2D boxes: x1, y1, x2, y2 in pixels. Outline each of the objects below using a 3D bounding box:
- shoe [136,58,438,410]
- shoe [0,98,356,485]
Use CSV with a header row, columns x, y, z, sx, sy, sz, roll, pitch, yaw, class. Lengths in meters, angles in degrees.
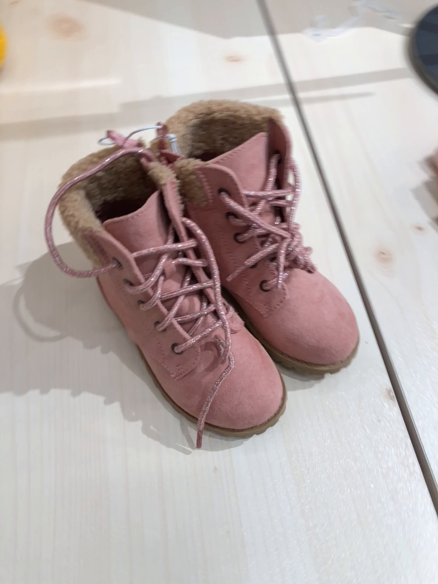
x,y,z,sx,sy,sz,roll,pitch,yaw,class
0.037,-0.032,0.295,0.080,0.120,0.160,-35,66,-18,shoe
-0.026,0.003,0.266,0.080,0.120,0.160,-35,66,-18,shoe
